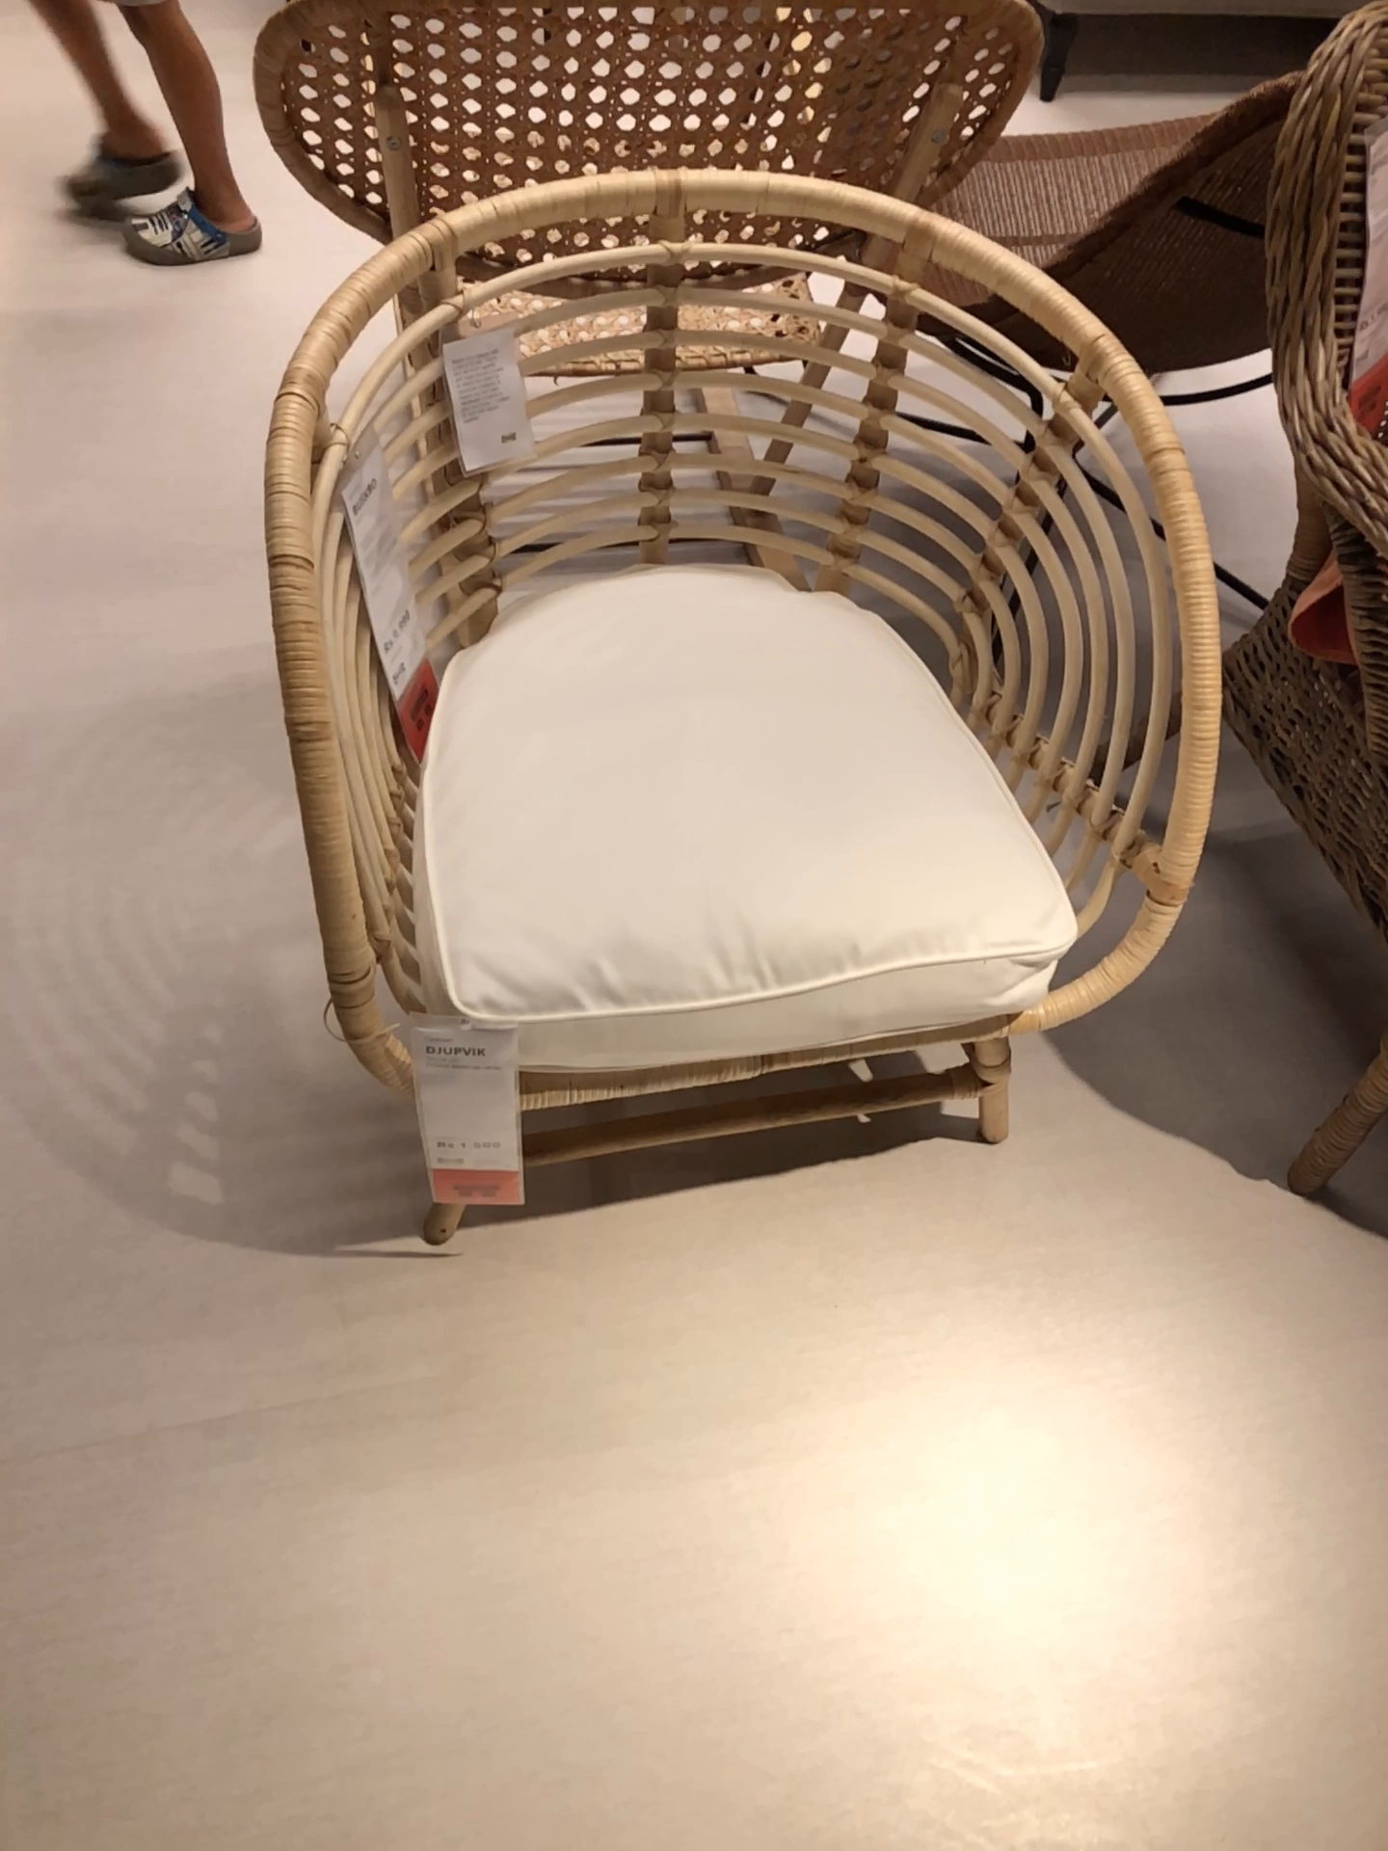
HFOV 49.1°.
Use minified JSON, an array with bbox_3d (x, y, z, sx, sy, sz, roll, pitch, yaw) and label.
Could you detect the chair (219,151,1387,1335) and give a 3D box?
[{"bbox_3d":[0.008,-0.159,1.473,0.750,0.825,0.684,-8,53,-12],"label":"chair"}]
